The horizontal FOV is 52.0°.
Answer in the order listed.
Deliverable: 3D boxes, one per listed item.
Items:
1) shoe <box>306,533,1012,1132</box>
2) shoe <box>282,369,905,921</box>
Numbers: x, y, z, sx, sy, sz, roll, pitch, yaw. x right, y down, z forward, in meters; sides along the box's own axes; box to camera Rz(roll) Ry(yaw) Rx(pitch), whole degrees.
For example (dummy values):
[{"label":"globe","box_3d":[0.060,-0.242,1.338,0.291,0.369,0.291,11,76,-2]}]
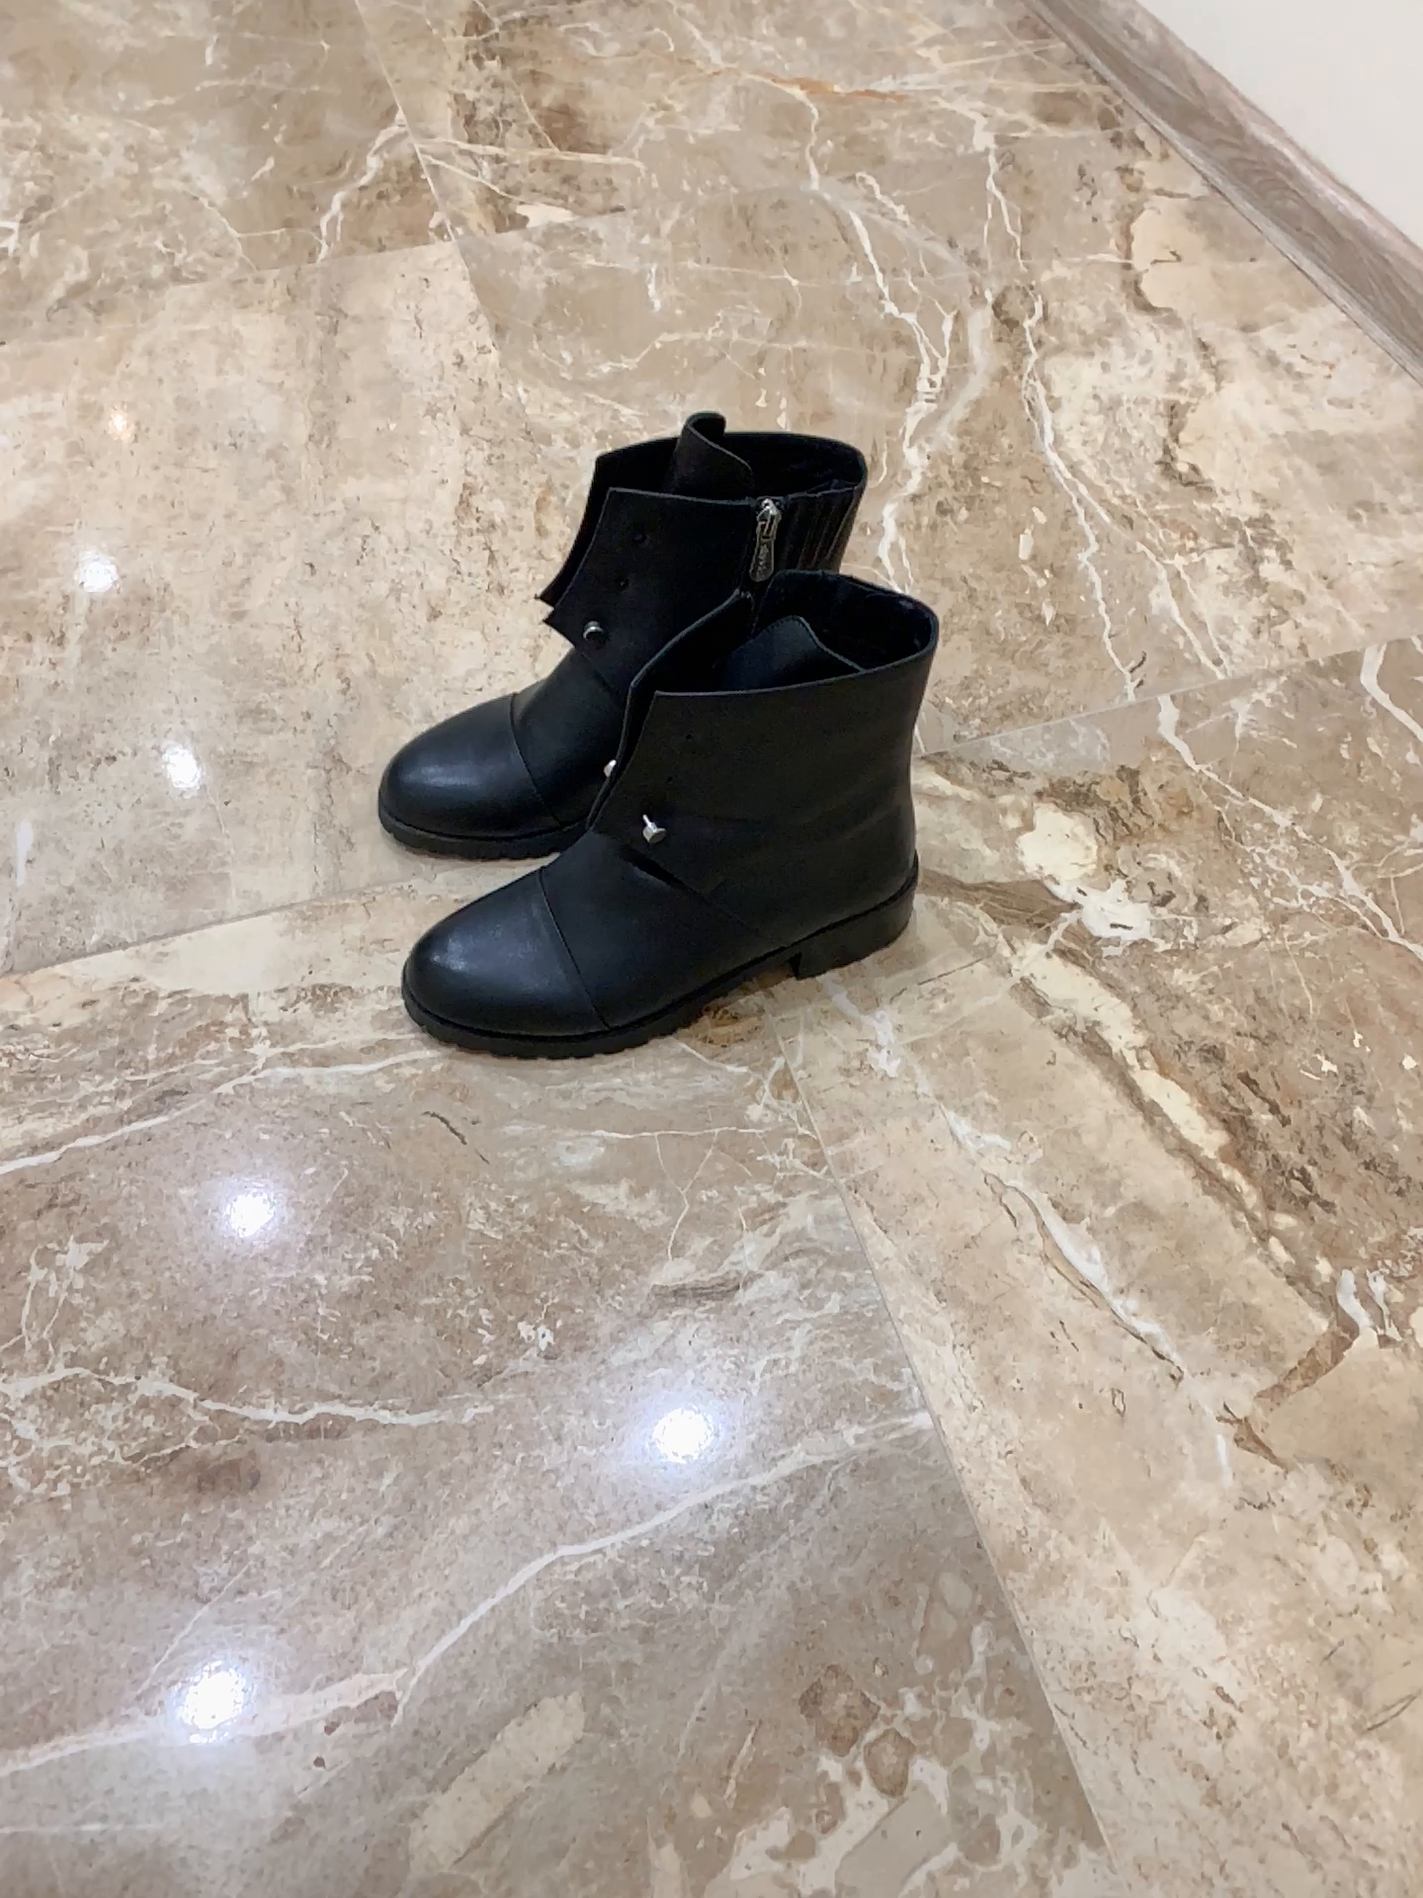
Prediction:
[{"label":"shoe","box_3d":[-0.019,-0.044,0.630,0.250,0.199,0.090,-16,55,-11]},{"label":"shoe","box_3d":[-0.048,-0.137,0.697,0.250,0.199,0.090,-14,55,-7]}]
